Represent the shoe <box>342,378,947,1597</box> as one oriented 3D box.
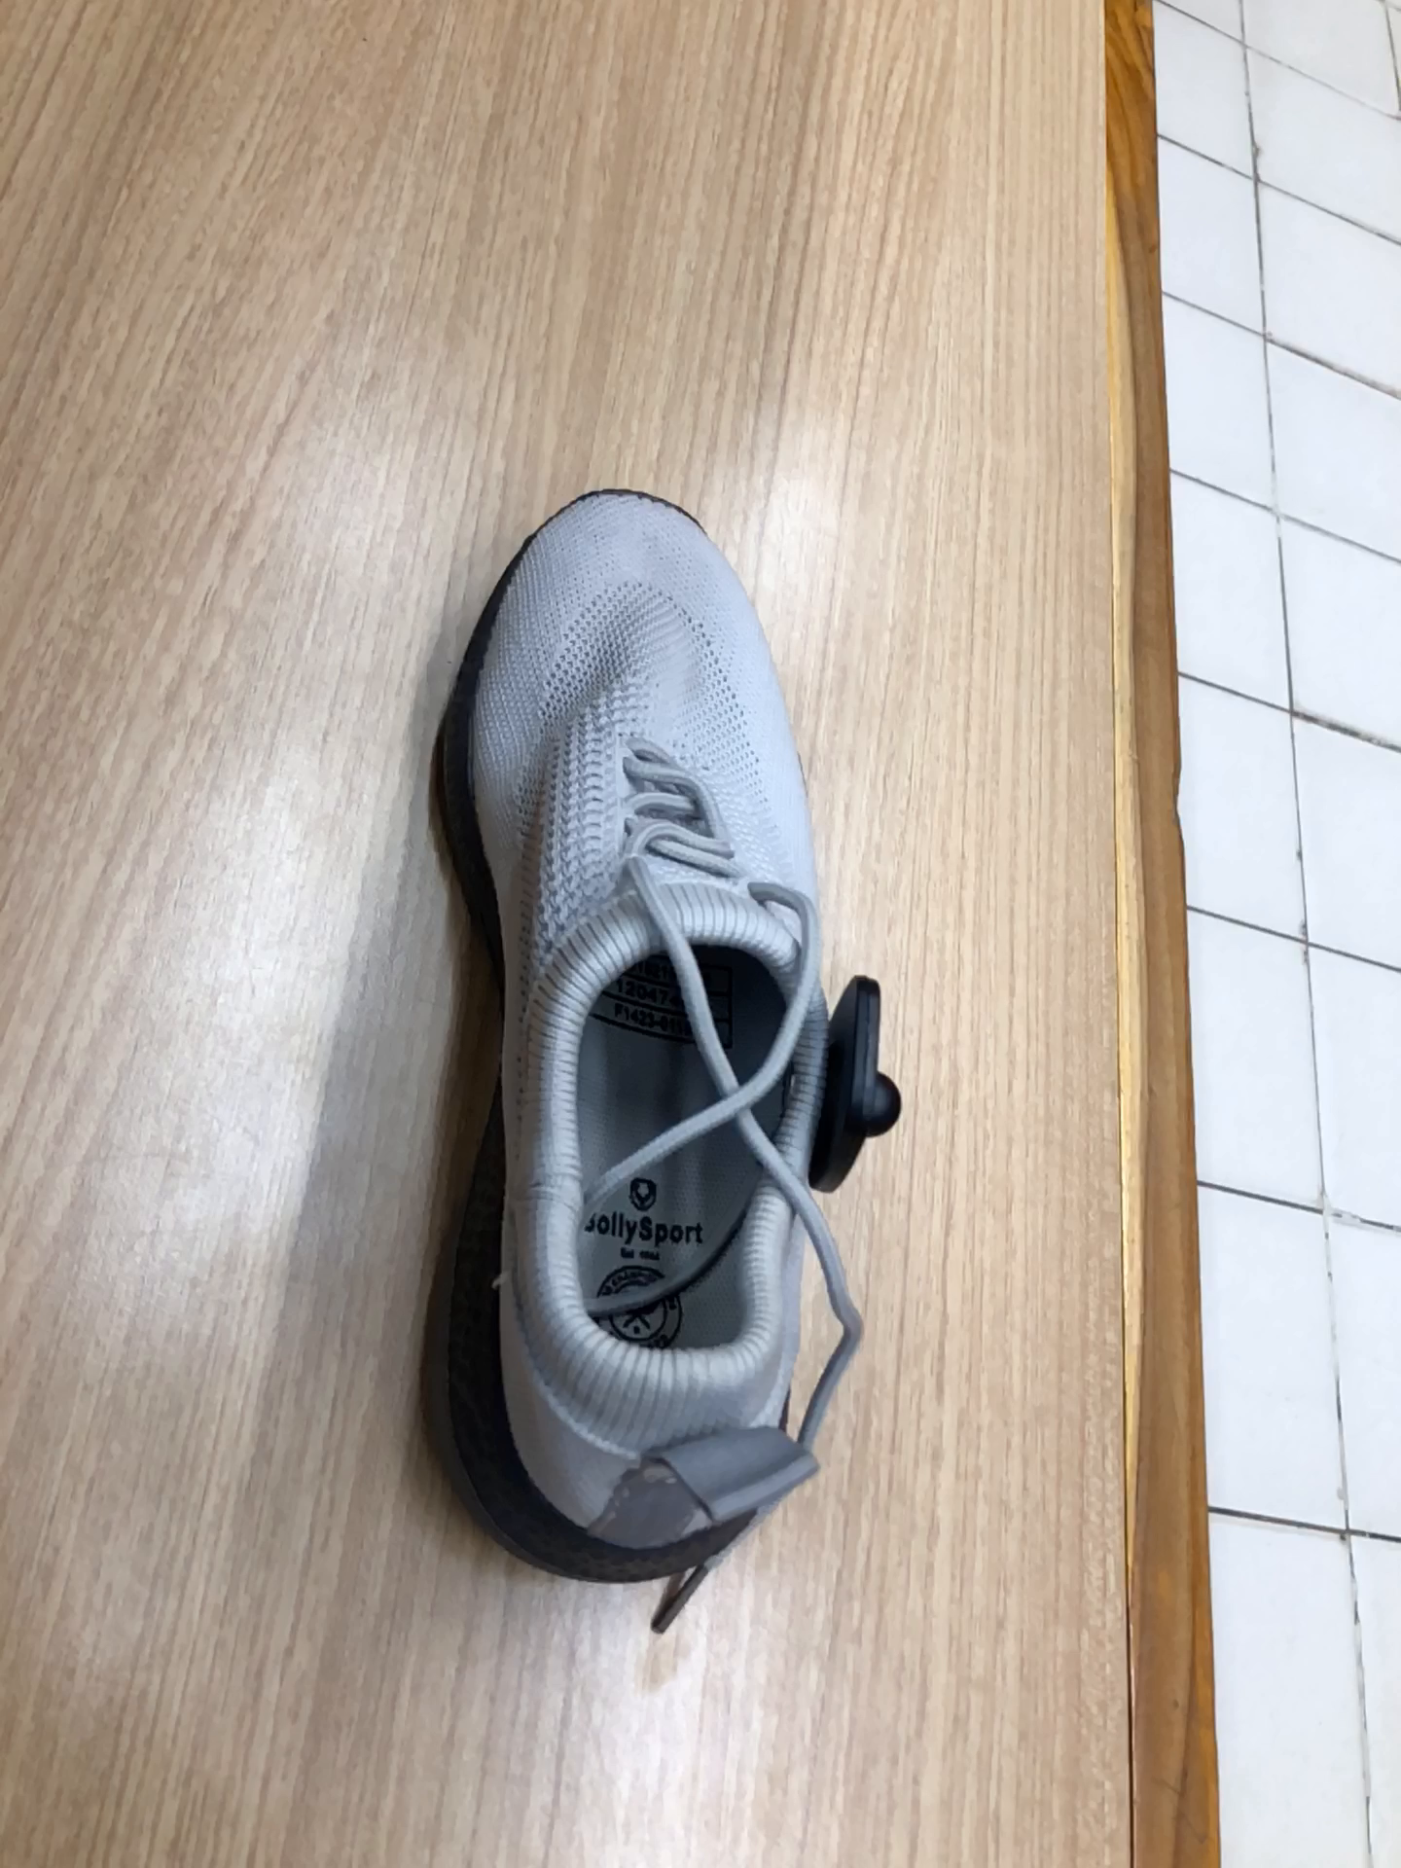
[{"bbox_3d":[-0.015,0.014,0.380,0.100,0.099,0.271,10,64,-19],"label":"shoe"}]
